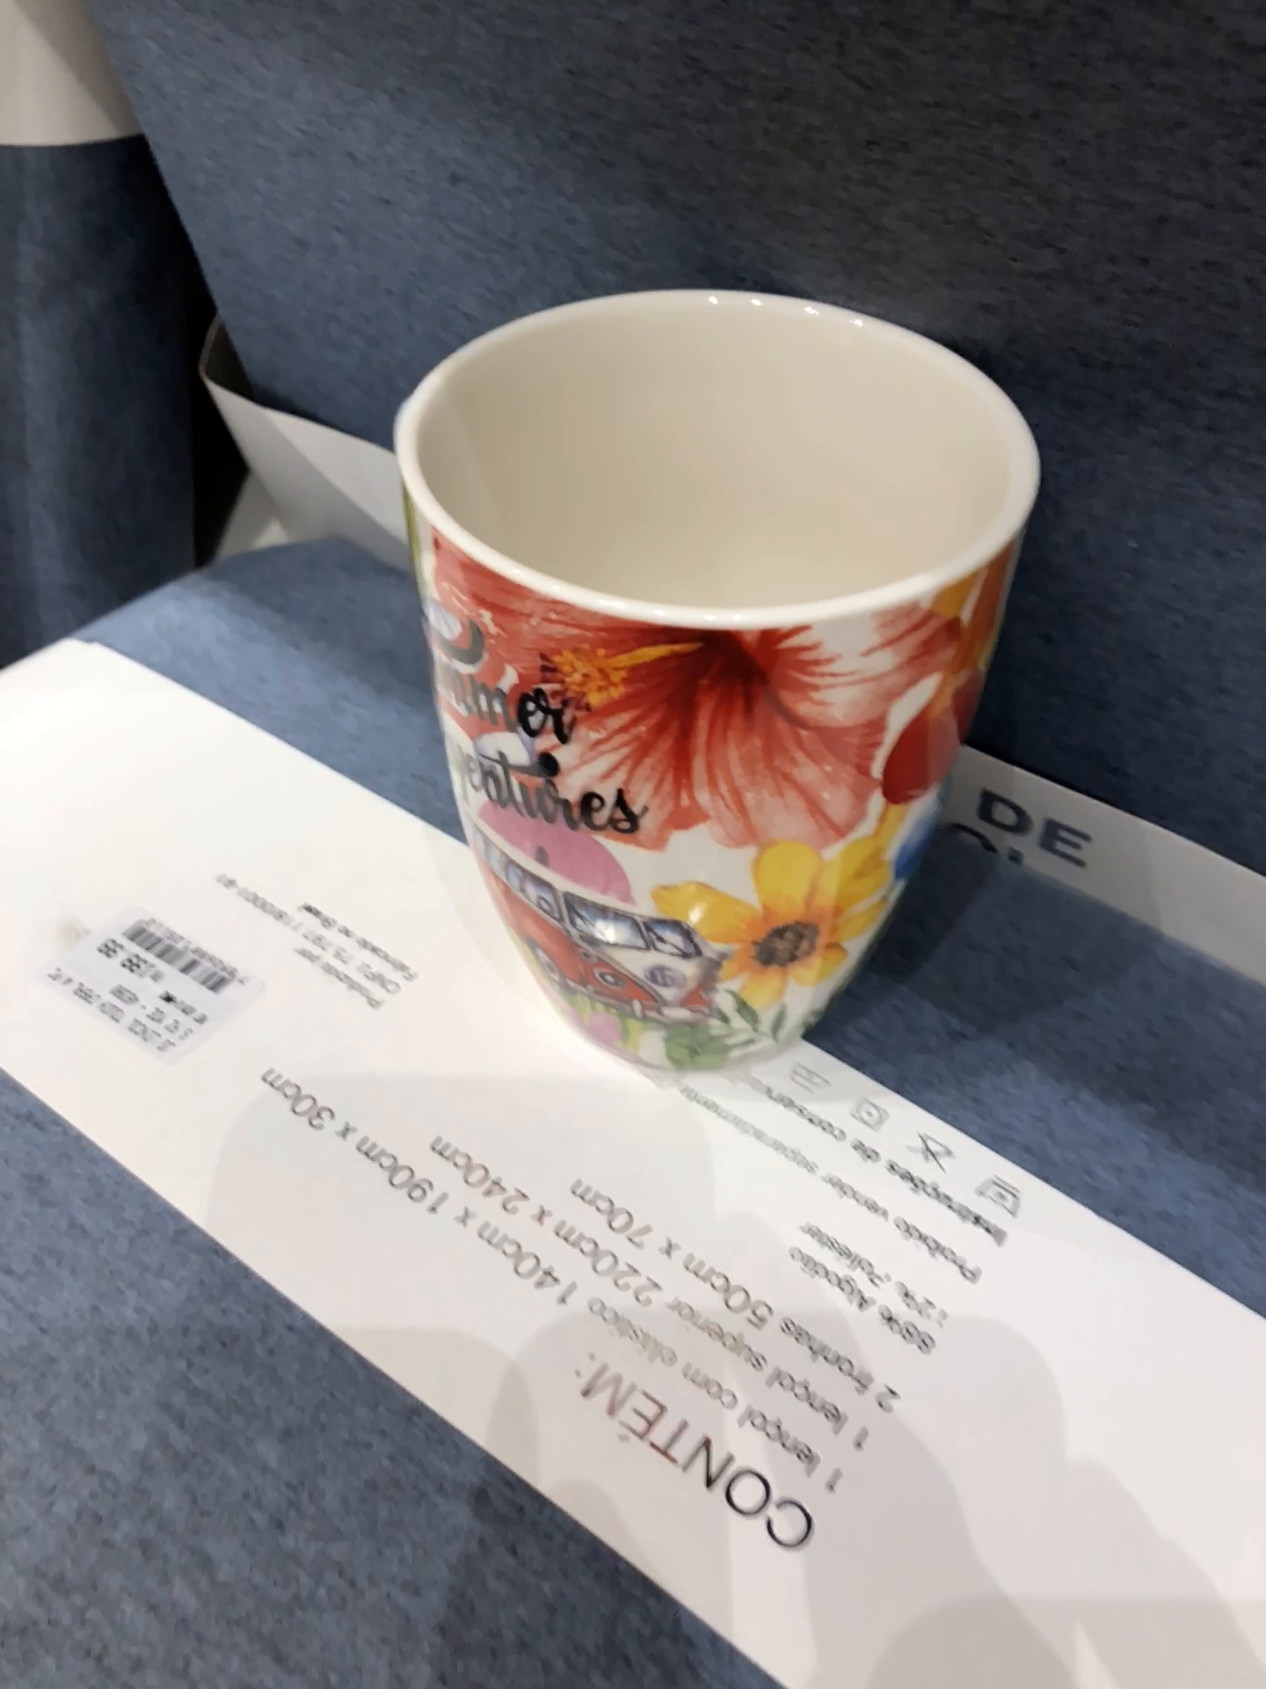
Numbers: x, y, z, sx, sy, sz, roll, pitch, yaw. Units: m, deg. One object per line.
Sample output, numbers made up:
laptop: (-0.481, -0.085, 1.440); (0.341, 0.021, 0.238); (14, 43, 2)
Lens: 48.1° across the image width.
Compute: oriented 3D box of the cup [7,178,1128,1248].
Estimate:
cup: (-0.010, -0.027, 0.210); (0.110, 0.090, 0.090); (31, 49, 25)
